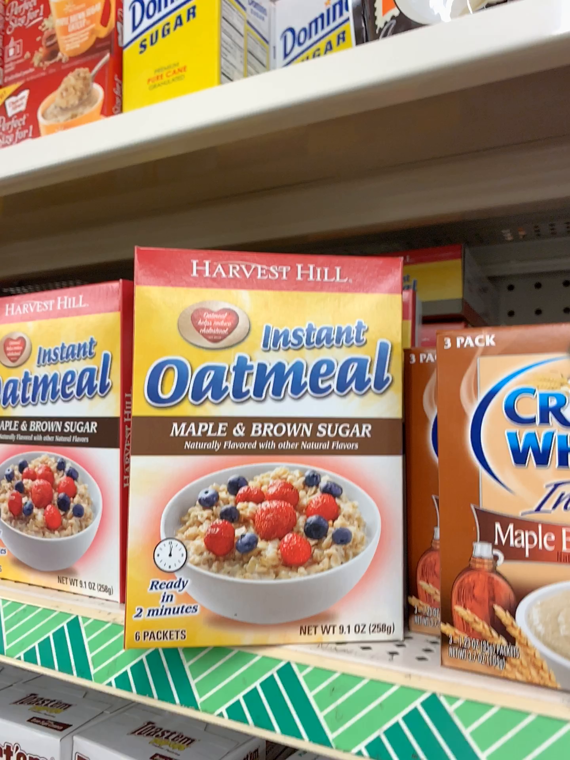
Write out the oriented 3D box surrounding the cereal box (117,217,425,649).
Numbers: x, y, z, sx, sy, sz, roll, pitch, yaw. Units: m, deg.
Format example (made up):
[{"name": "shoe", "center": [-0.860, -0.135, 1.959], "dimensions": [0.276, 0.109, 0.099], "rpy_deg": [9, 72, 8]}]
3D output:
[{"name": "cereal box", "center": [-0.006, 0.022, 0.282], "dimensions": [0.130, 0.180, 0.050], "rpy_deg": [1, -4, -7]}]
